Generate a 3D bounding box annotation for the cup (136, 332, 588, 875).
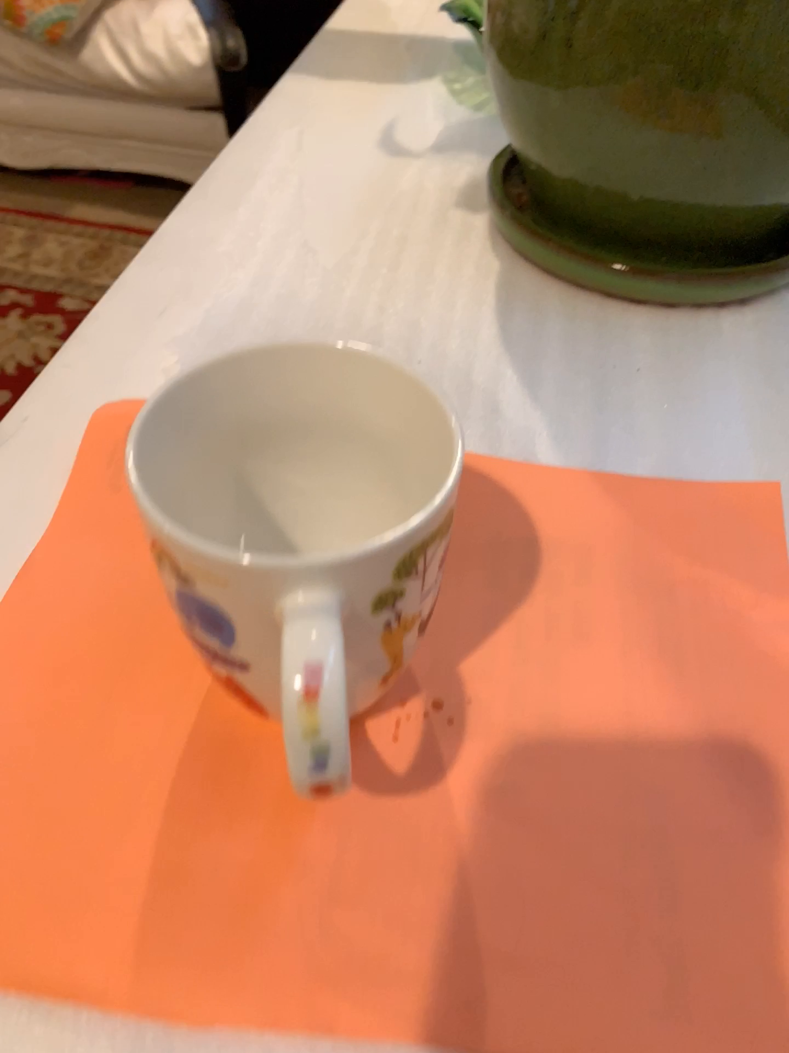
[{"bbox_3d":[-0.014,0.018,0.236,0.090,0.089,0.121,-3,48,-6],"label":"cup"}]
